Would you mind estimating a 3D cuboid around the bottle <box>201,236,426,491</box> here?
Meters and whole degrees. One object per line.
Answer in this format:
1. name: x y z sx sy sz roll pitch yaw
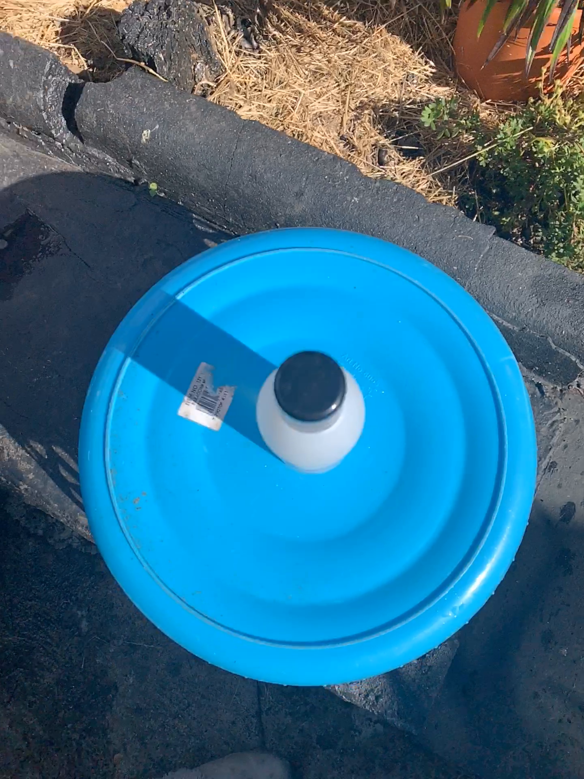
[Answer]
1. bottle: 0.010 0.003 0.306 0.060 0.180 0.060 0 76 1
